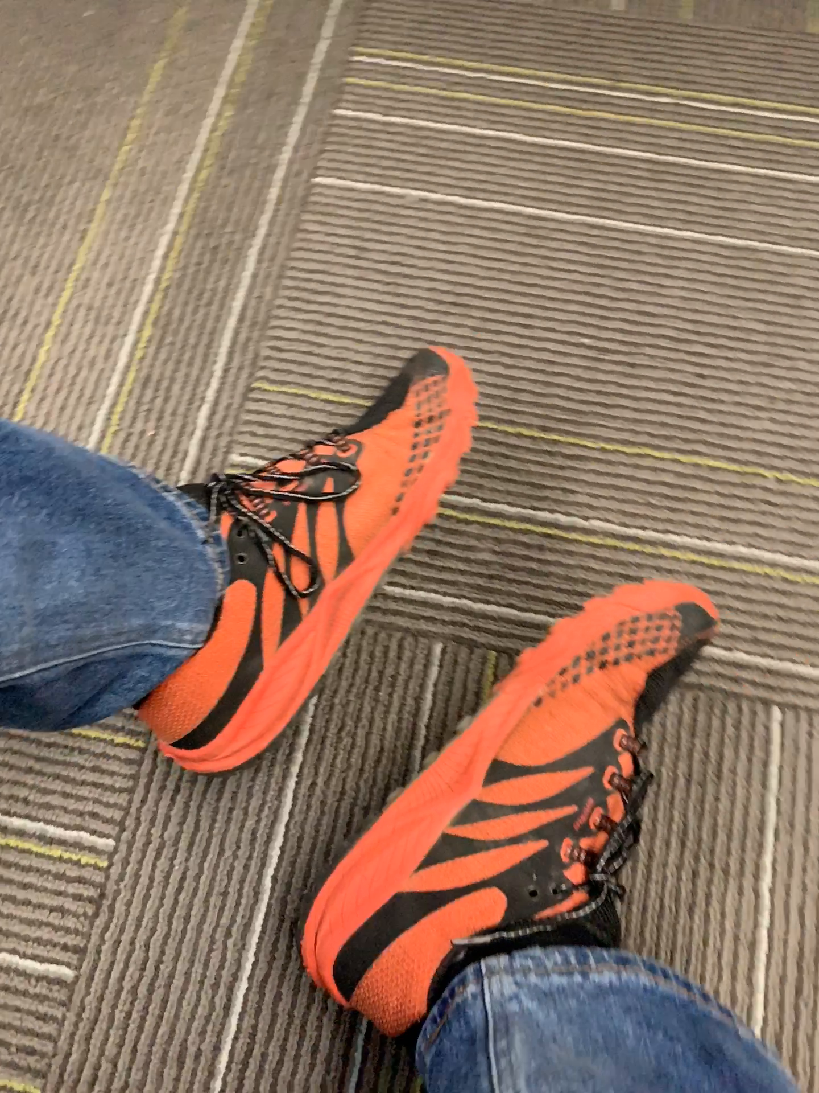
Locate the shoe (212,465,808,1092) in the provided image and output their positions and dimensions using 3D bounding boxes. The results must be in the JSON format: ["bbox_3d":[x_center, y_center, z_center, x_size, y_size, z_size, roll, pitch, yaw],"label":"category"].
[{"bbox_3d":[0.068,0.129,0.459,0.108,0.138,0.317,35,74,30],"label":"shoe"}]

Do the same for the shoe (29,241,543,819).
[{"bbox_3d":[-0.069,-0.020,0.504,0.108,0.128,0.307,43,72,-29],"label":"shoe"}]
